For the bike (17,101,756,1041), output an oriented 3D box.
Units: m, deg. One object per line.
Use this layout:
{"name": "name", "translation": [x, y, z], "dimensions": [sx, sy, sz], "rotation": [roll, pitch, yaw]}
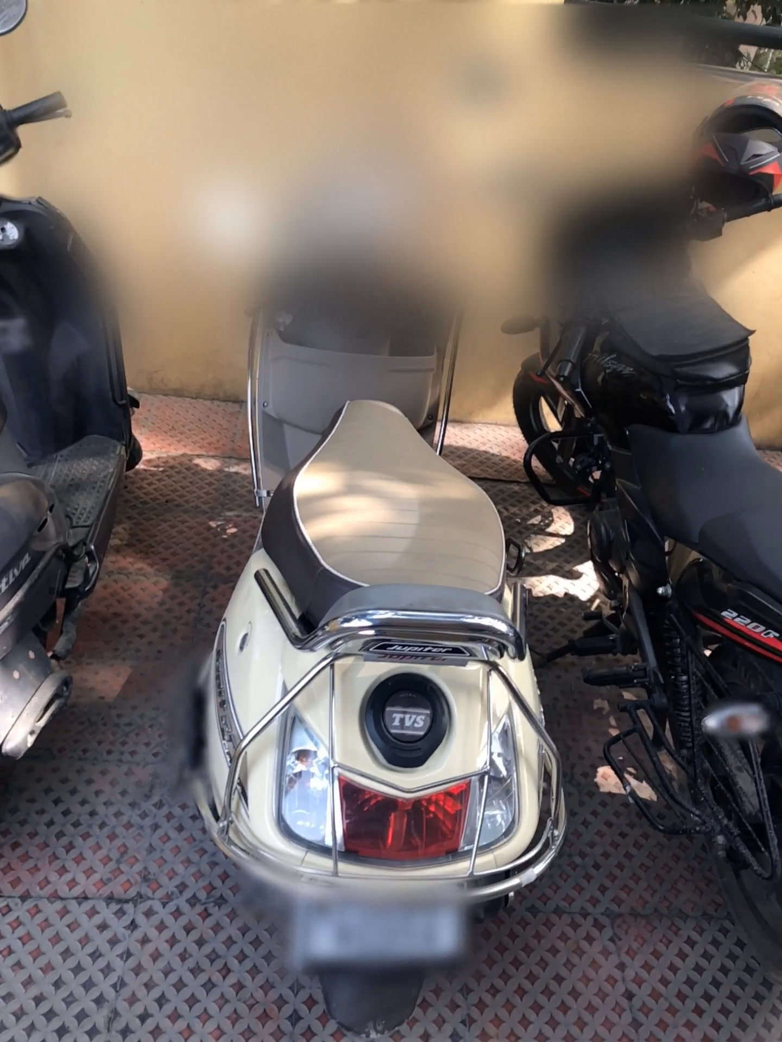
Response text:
{"name": "bike", "translation": [-0.188, -0.067, 1.677], "dimensions": [0.644, 0.998, 1.635], "rotation": [0, 37, -11]}
